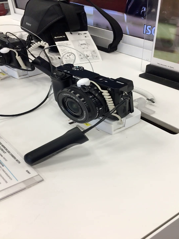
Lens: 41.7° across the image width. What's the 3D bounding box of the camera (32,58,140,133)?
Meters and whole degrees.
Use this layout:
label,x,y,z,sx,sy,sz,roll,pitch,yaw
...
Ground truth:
label,x,y,z,sx,sy,sz,roll,pitch,yaw
camera,-0.008,-0.044,0.380,0.084,0.064,0.128,-32,47,-31
